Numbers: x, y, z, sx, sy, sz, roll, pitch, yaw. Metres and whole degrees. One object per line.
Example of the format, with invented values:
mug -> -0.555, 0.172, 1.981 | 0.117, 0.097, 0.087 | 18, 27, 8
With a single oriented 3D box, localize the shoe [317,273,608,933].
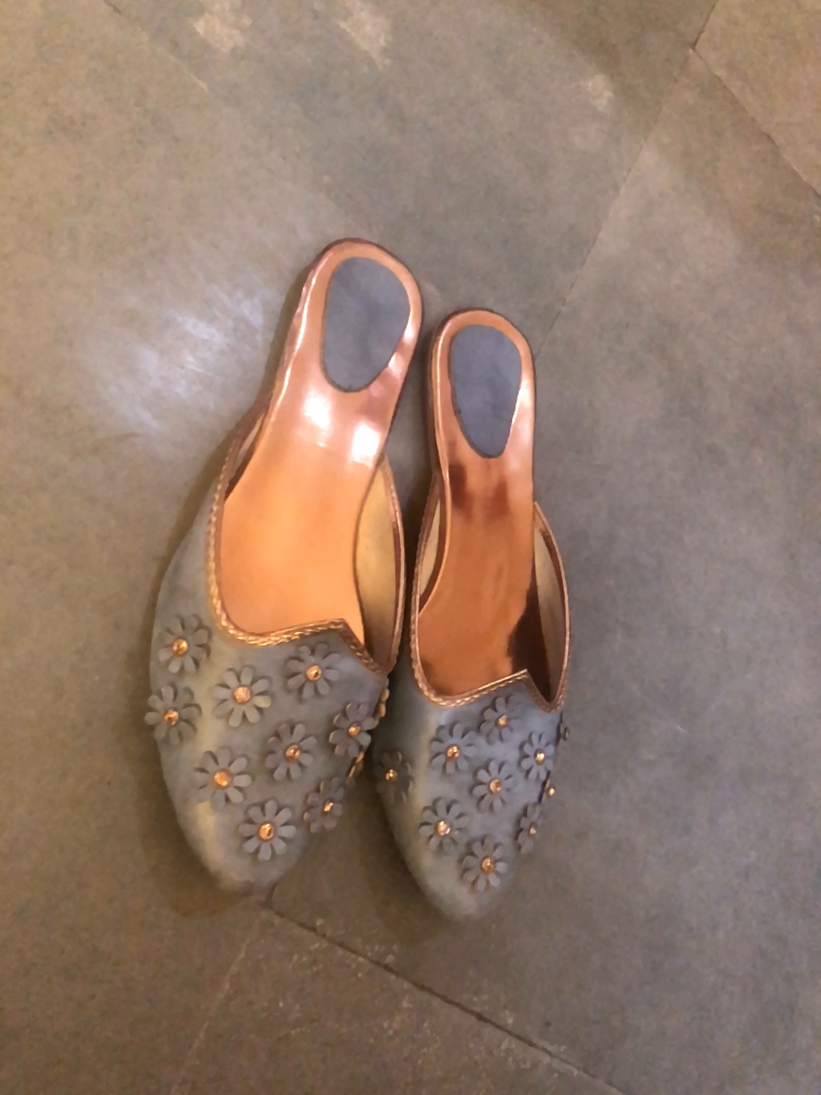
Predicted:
shoe -> 0.029, 0.025, 0.414 | 0.100, 0.050, 0.270 | 13, 76, -30

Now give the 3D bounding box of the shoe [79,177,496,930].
shoe -> -0.041, 0.001, 0.366 | 0.100, 0.050, 0.270 | 19, 73, -28
